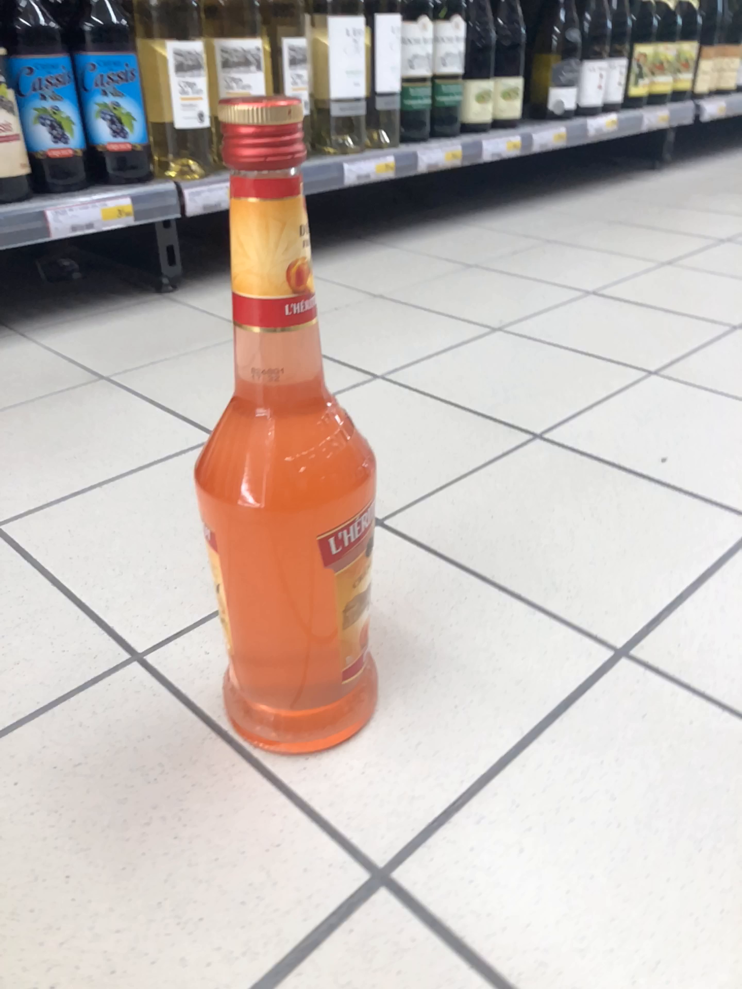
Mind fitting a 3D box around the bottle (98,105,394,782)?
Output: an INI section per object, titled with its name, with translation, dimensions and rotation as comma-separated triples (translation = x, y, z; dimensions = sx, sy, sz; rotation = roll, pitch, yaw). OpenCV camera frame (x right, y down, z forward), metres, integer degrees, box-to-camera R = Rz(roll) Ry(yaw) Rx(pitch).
[bottle]
translation = -0.039, -0.012, 0.377
dimensions = 0.090, 0.298, 0.091
rotation = 0, 29, 0
